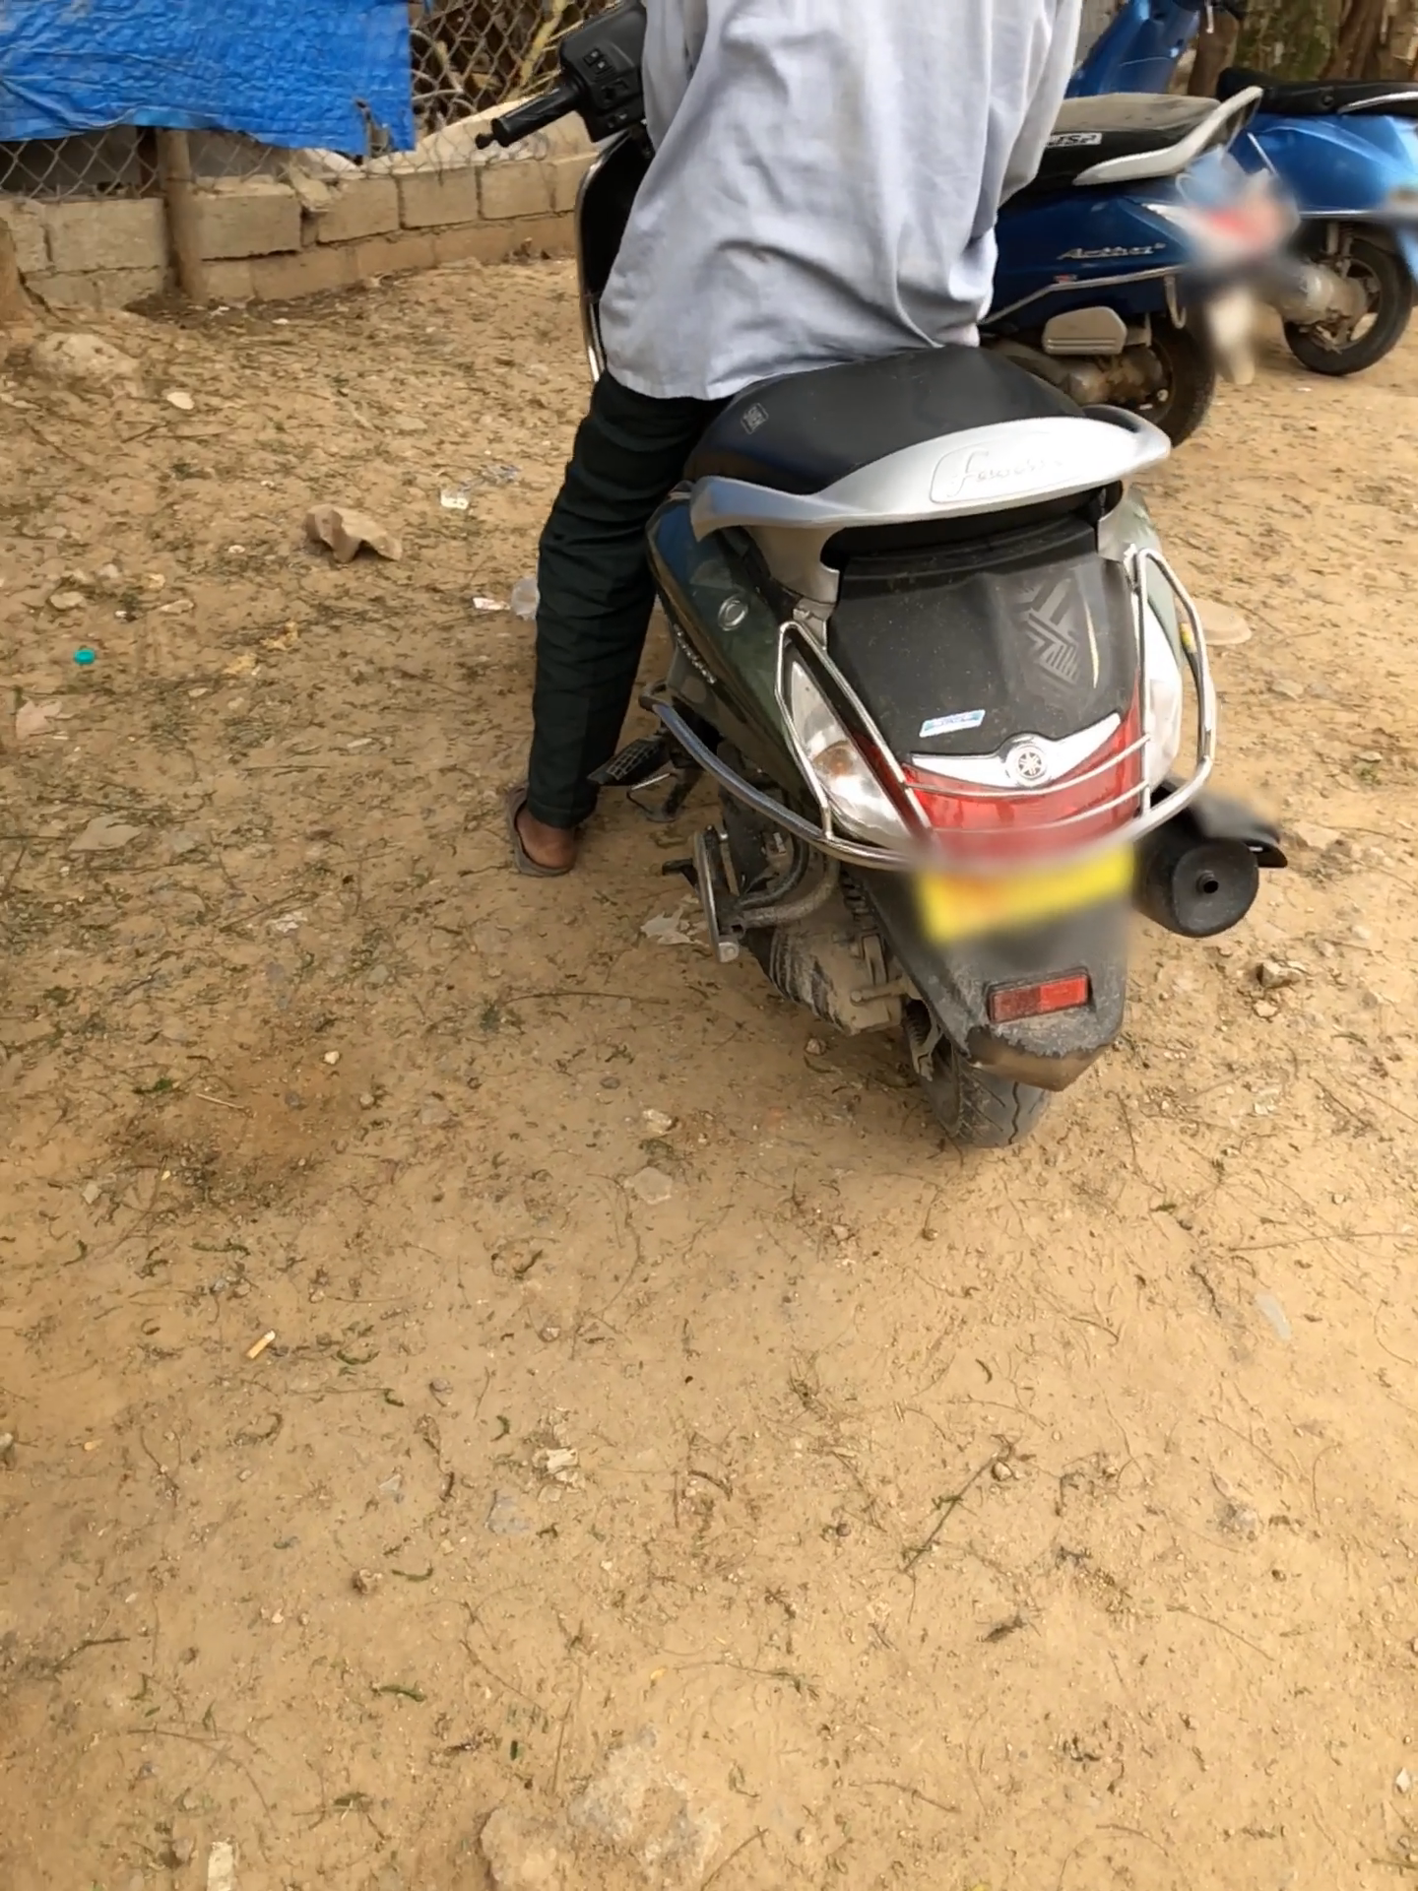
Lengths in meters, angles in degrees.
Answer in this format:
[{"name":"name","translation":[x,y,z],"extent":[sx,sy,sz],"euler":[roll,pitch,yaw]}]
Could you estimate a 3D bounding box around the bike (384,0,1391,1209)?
[{"name":"bike","translation":[-0.031,-0.712,1.997],"extent":[0.623,1.054,1.730],"euler":[-4,36,-11]}]
